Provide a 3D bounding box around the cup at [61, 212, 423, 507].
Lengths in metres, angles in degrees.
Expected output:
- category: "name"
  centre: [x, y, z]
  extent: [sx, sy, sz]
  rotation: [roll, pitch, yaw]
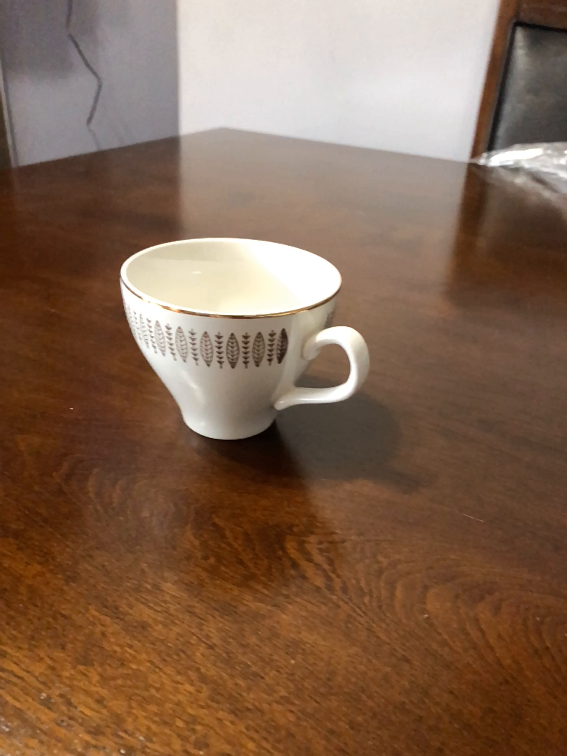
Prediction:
- category: "cup"
  centre: [-0.014, -0.017, 0.249]
  extent: [0.100, 0.060, 0.090]
  rotation: [20, 32, 25]
